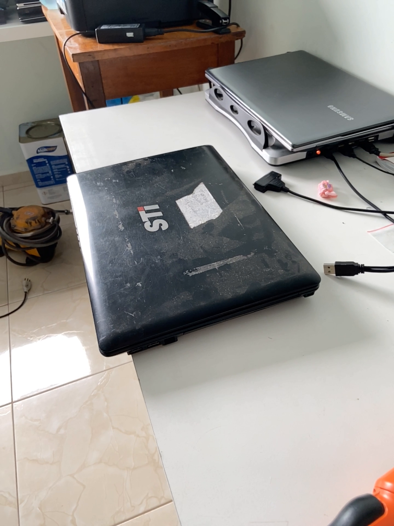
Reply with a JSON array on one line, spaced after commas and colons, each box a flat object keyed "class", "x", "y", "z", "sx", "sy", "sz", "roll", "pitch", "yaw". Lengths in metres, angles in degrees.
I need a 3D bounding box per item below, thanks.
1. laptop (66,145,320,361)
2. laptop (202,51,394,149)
[{"class": "laptop", "x": -0.037, "y": -0.049, "z": 0.521, "sx": 0.230, "sy": 0.011, "sz": 0.339, "roll": -17, "pitch": 44, "yaw": -10}, {"class": "laptop", "x": 0.182, "y": -0.311, "z": 0.731, "sx": 0.227, "sy": 0.006, "sz": 0.345, "roll": -18, "pitch": 46, "yaw": -15}]
